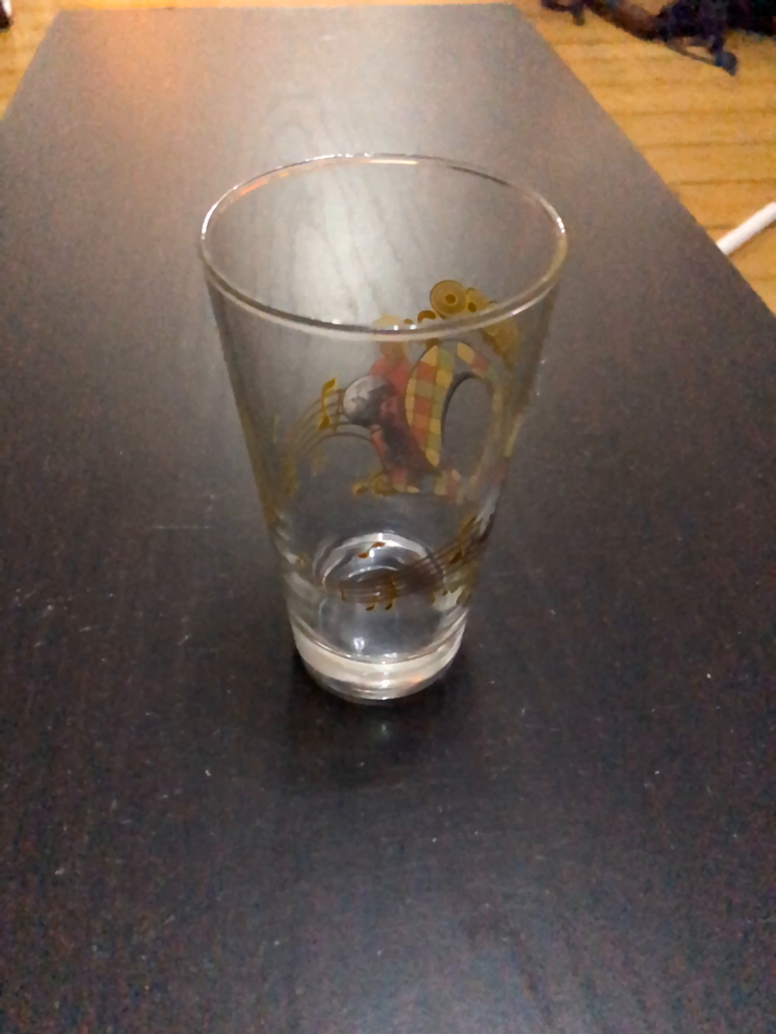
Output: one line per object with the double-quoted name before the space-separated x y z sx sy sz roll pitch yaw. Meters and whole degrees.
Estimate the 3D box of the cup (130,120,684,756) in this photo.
"cup" 0.004 -0.020 0.212 0.080 0.109 0.080 1 44 -1
